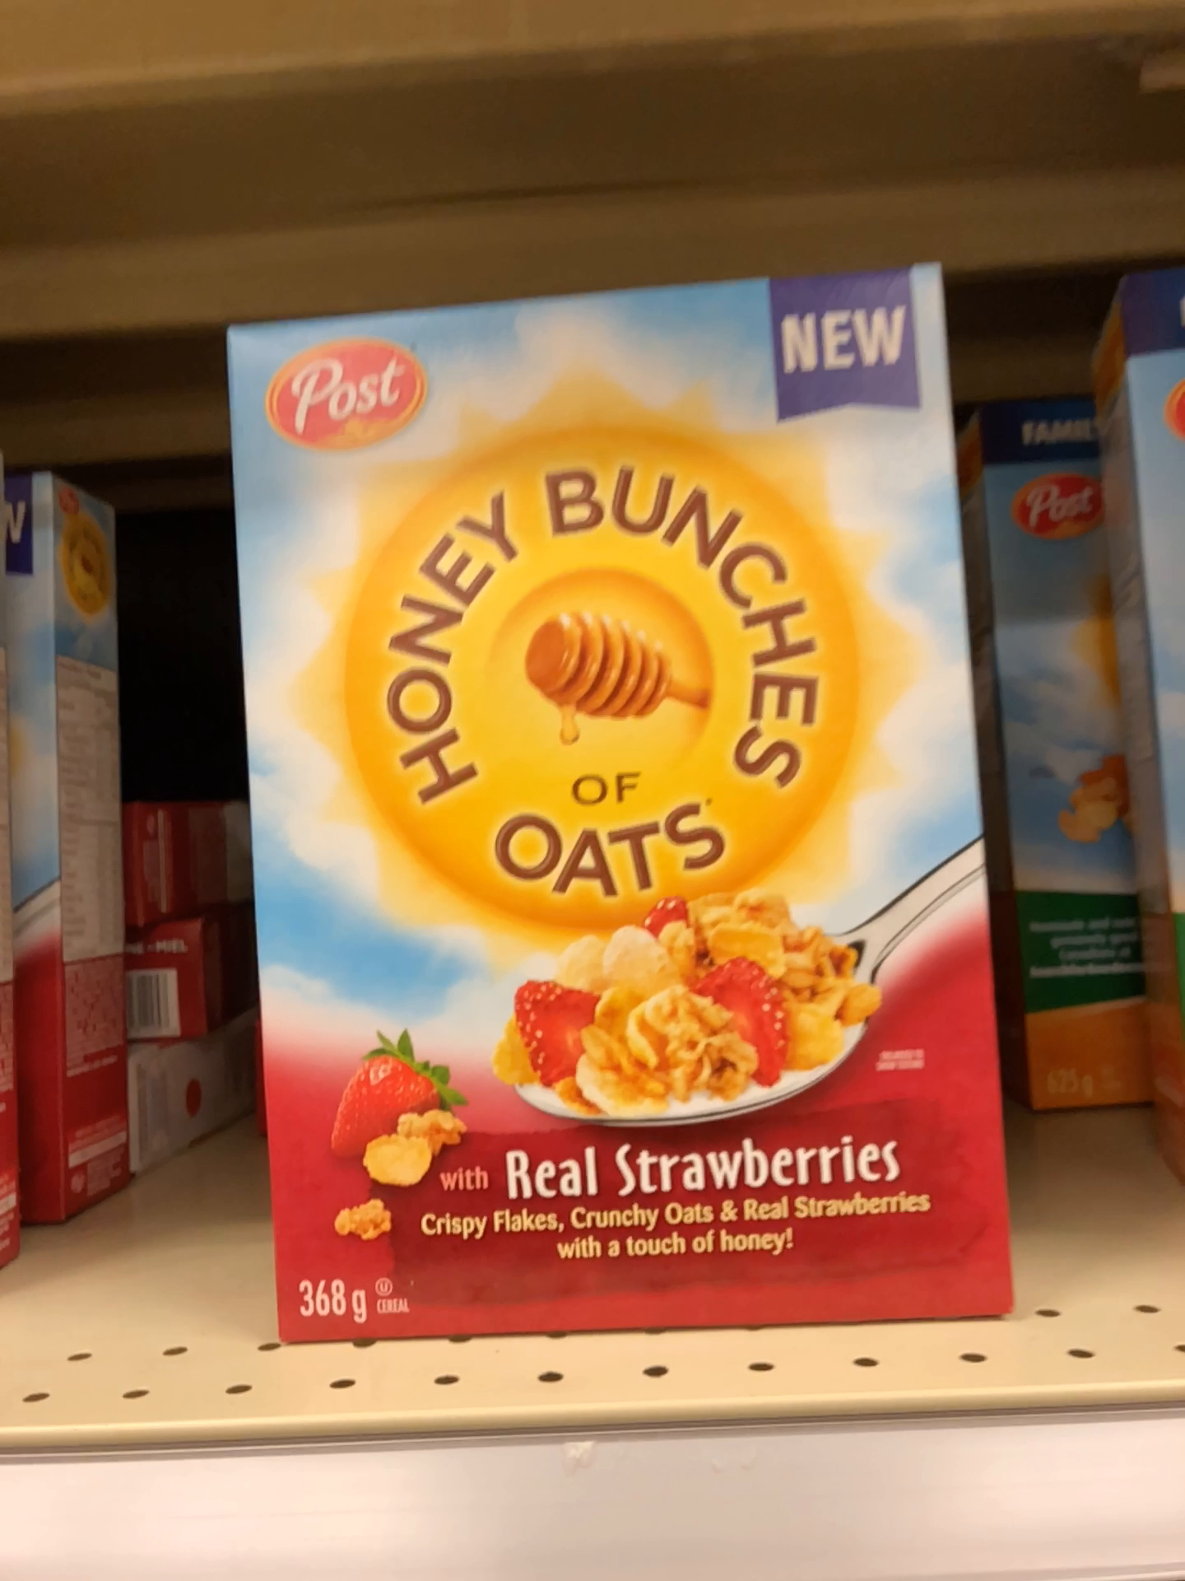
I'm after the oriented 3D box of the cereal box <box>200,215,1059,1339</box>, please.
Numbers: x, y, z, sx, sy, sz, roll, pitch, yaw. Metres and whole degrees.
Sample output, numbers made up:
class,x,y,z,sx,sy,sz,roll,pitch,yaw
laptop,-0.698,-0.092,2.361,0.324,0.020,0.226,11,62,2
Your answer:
class,x,y,z,sx,sy,sz,roll,pitch,yaw
cereal box,0.007,-0.002,0.354,0.200,0.270,0.050,-3,-2,4
